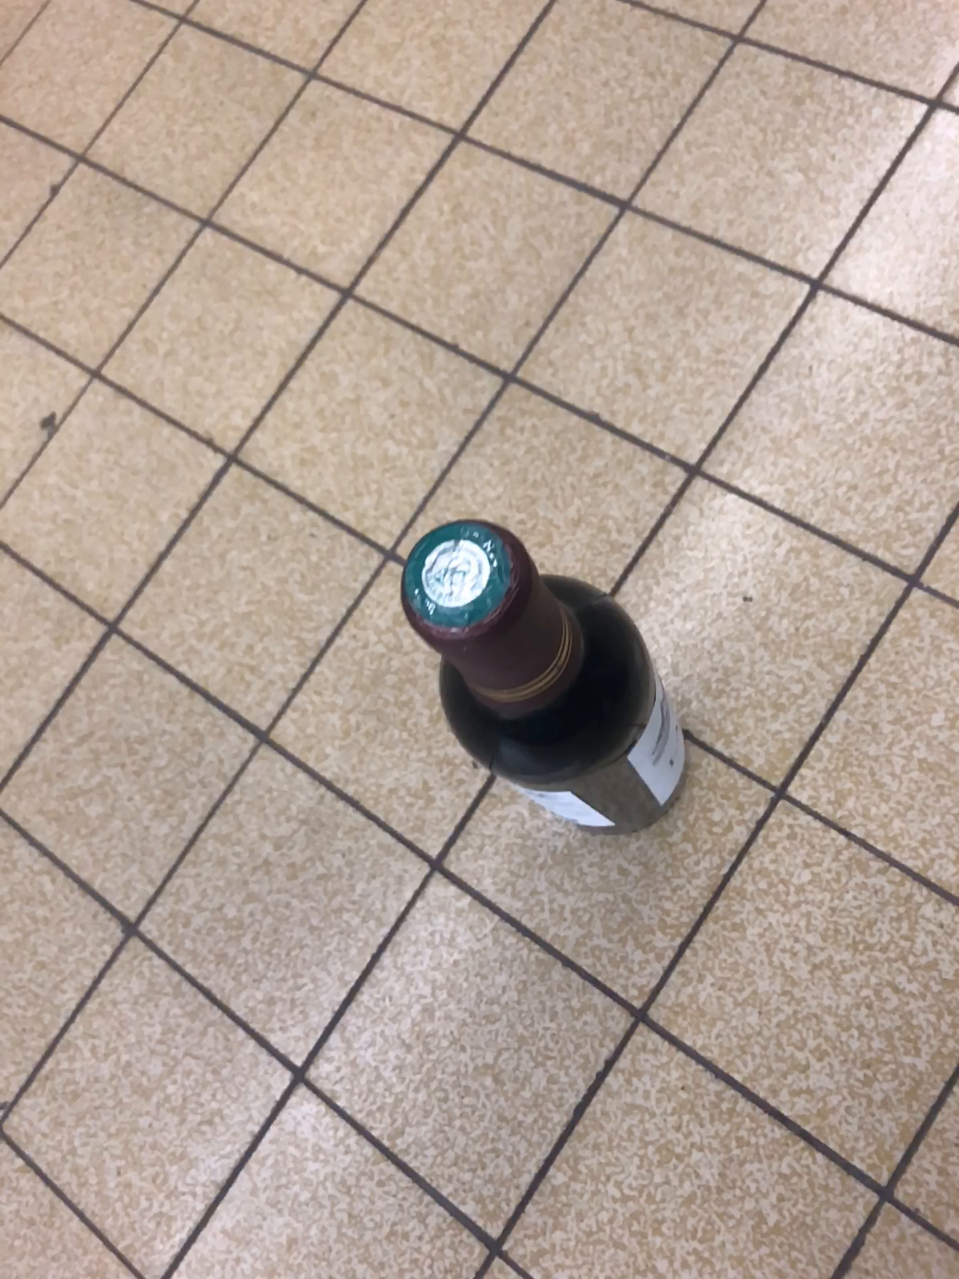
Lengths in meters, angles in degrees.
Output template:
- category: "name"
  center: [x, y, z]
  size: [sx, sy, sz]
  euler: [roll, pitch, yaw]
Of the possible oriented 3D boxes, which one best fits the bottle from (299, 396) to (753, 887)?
- category: "bottle"
  center: [0.033, 0.021, 0.319]
  size: [0.060, 0.220, 0.070]
  euler: [-41, 68, 1]
